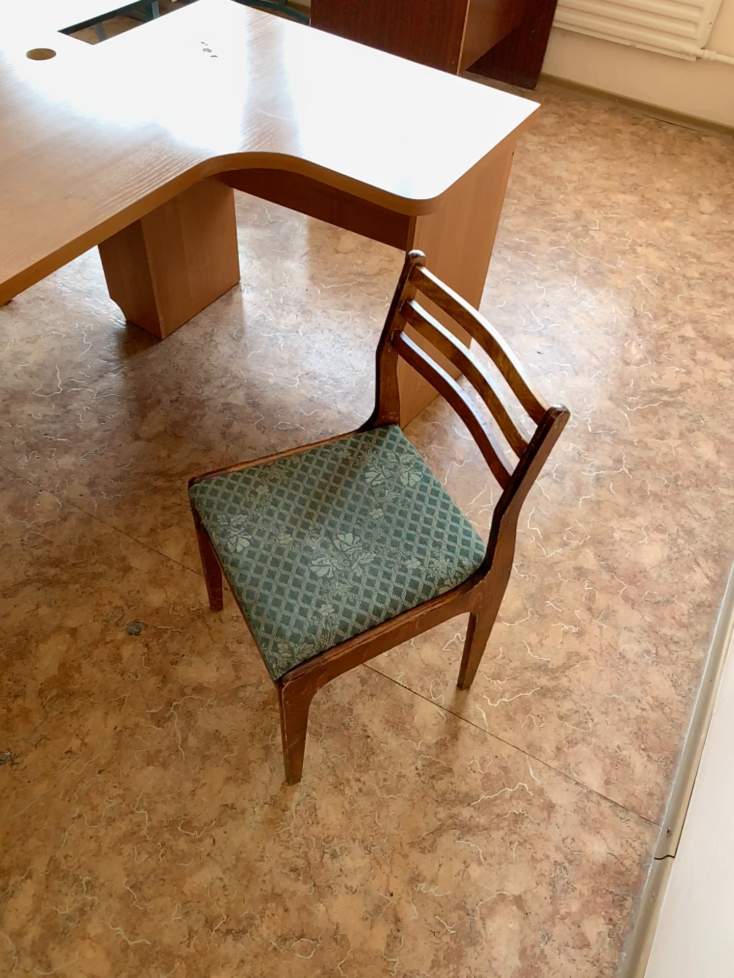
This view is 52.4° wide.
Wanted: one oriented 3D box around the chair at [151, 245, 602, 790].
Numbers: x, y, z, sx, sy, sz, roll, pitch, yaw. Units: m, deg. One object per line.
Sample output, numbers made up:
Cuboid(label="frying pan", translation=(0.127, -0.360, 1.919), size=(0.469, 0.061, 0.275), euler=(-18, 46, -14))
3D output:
Cuboid(label="chair", translation=(-0.025, 0.077, 1.168), size=(0.402, 0.704, 0.402), euler=(-20, 55, -20))
